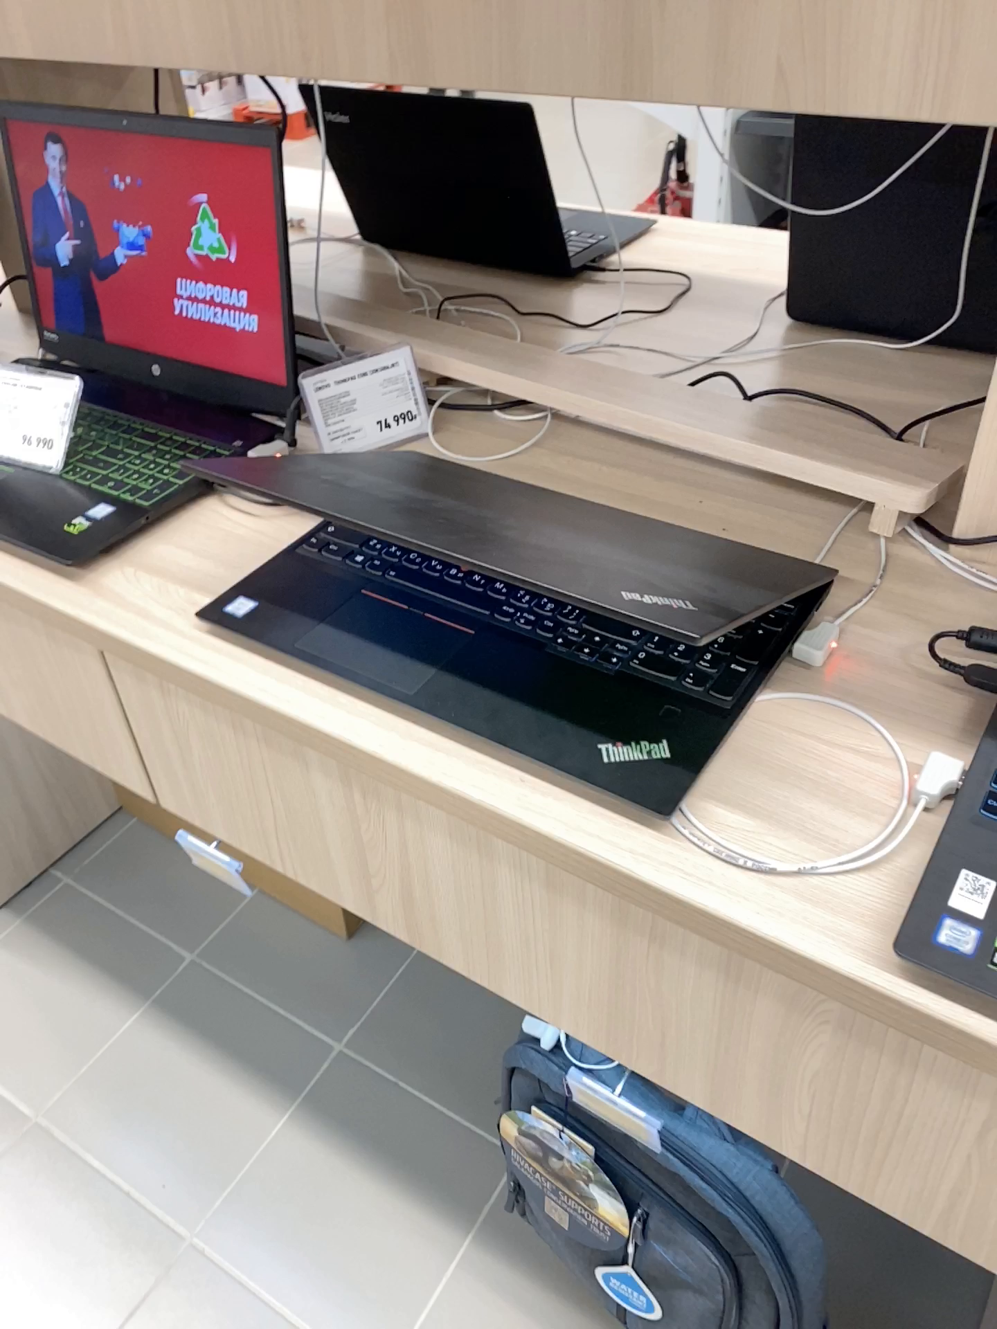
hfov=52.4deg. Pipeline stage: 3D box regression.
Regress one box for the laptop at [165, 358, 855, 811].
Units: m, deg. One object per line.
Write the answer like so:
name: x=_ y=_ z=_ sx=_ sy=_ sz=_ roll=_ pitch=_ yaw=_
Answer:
laptop: x=0.004 y=-0.083 z=0.669 sx=0.369 sy=0.093 sz=0.240 roll=21 pitch=46 yaw=29
